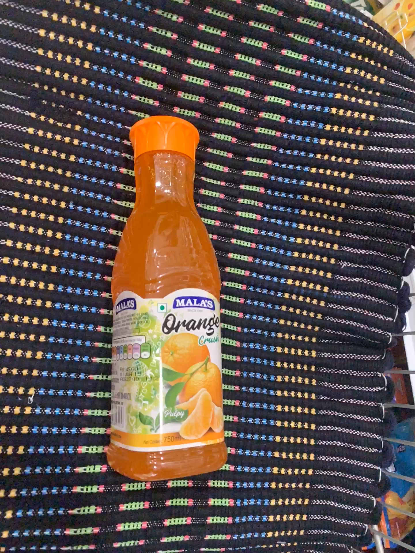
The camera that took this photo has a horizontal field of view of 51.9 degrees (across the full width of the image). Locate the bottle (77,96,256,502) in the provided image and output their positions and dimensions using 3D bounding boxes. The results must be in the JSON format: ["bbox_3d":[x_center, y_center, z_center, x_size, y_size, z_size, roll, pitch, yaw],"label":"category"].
[{"bbox_3d":[-0.028,0.012,0.281,0.080,0.080,0.220,7,74,-30],"label":"bottle"}]
